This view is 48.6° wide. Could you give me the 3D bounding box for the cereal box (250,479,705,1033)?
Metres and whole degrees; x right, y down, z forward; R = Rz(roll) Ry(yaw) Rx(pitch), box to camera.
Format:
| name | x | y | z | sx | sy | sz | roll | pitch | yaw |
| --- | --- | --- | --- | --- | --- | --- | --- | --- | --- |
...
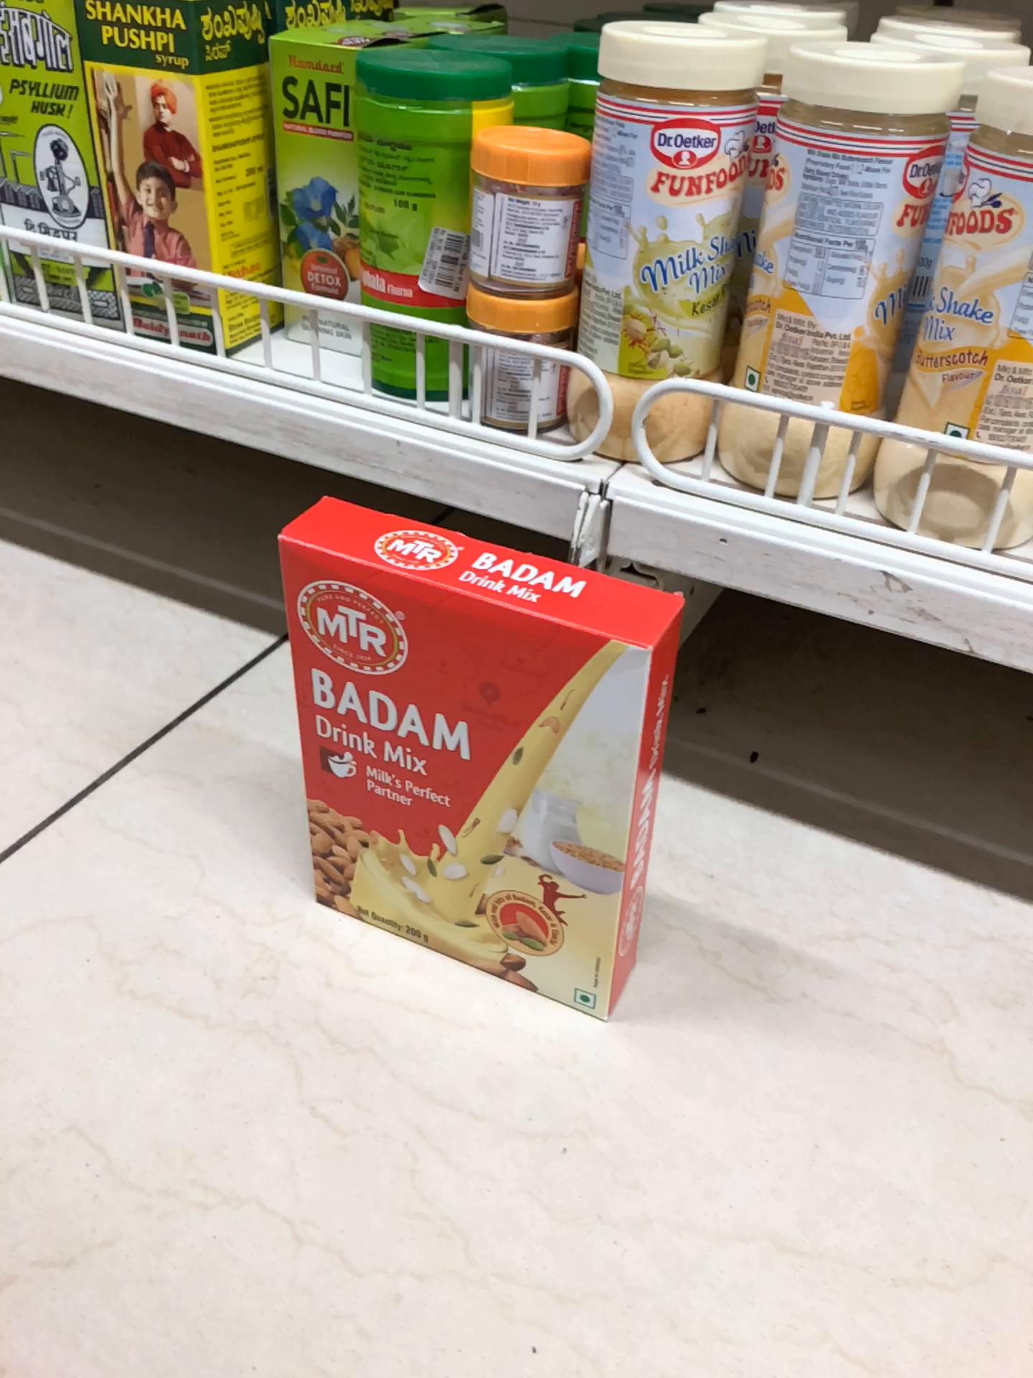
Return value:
| name | x | y | z | sx | sy | sz | roll | pitch | yaw |
| --- | --- | --- | --- | --- | --- | --- | --- | --- | --- |
| cereal box | -0.016 | 0.025 | 0.384 | 0.130 | 0.159 | 0.040 | 17 | 38 | 19 |
